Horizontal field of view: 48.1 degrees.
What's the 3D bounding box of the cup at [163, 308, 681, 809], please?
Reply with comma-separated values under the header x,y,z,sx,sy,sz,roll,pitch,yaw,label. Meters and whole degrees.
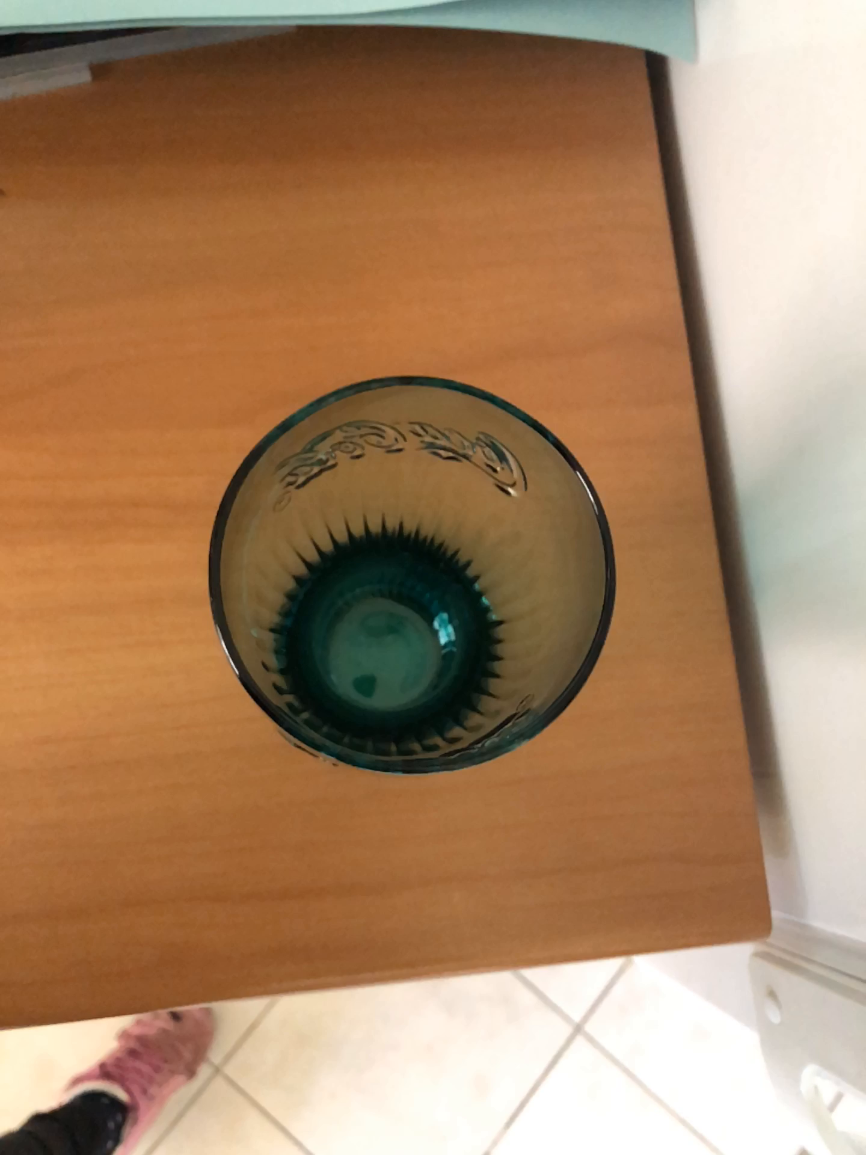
x,y,z,sx,sy,sz,roll,pitch,yaw,label
-0.009,0.007,0.244,0.080,0.140,0.080,1,79,-6,cup
